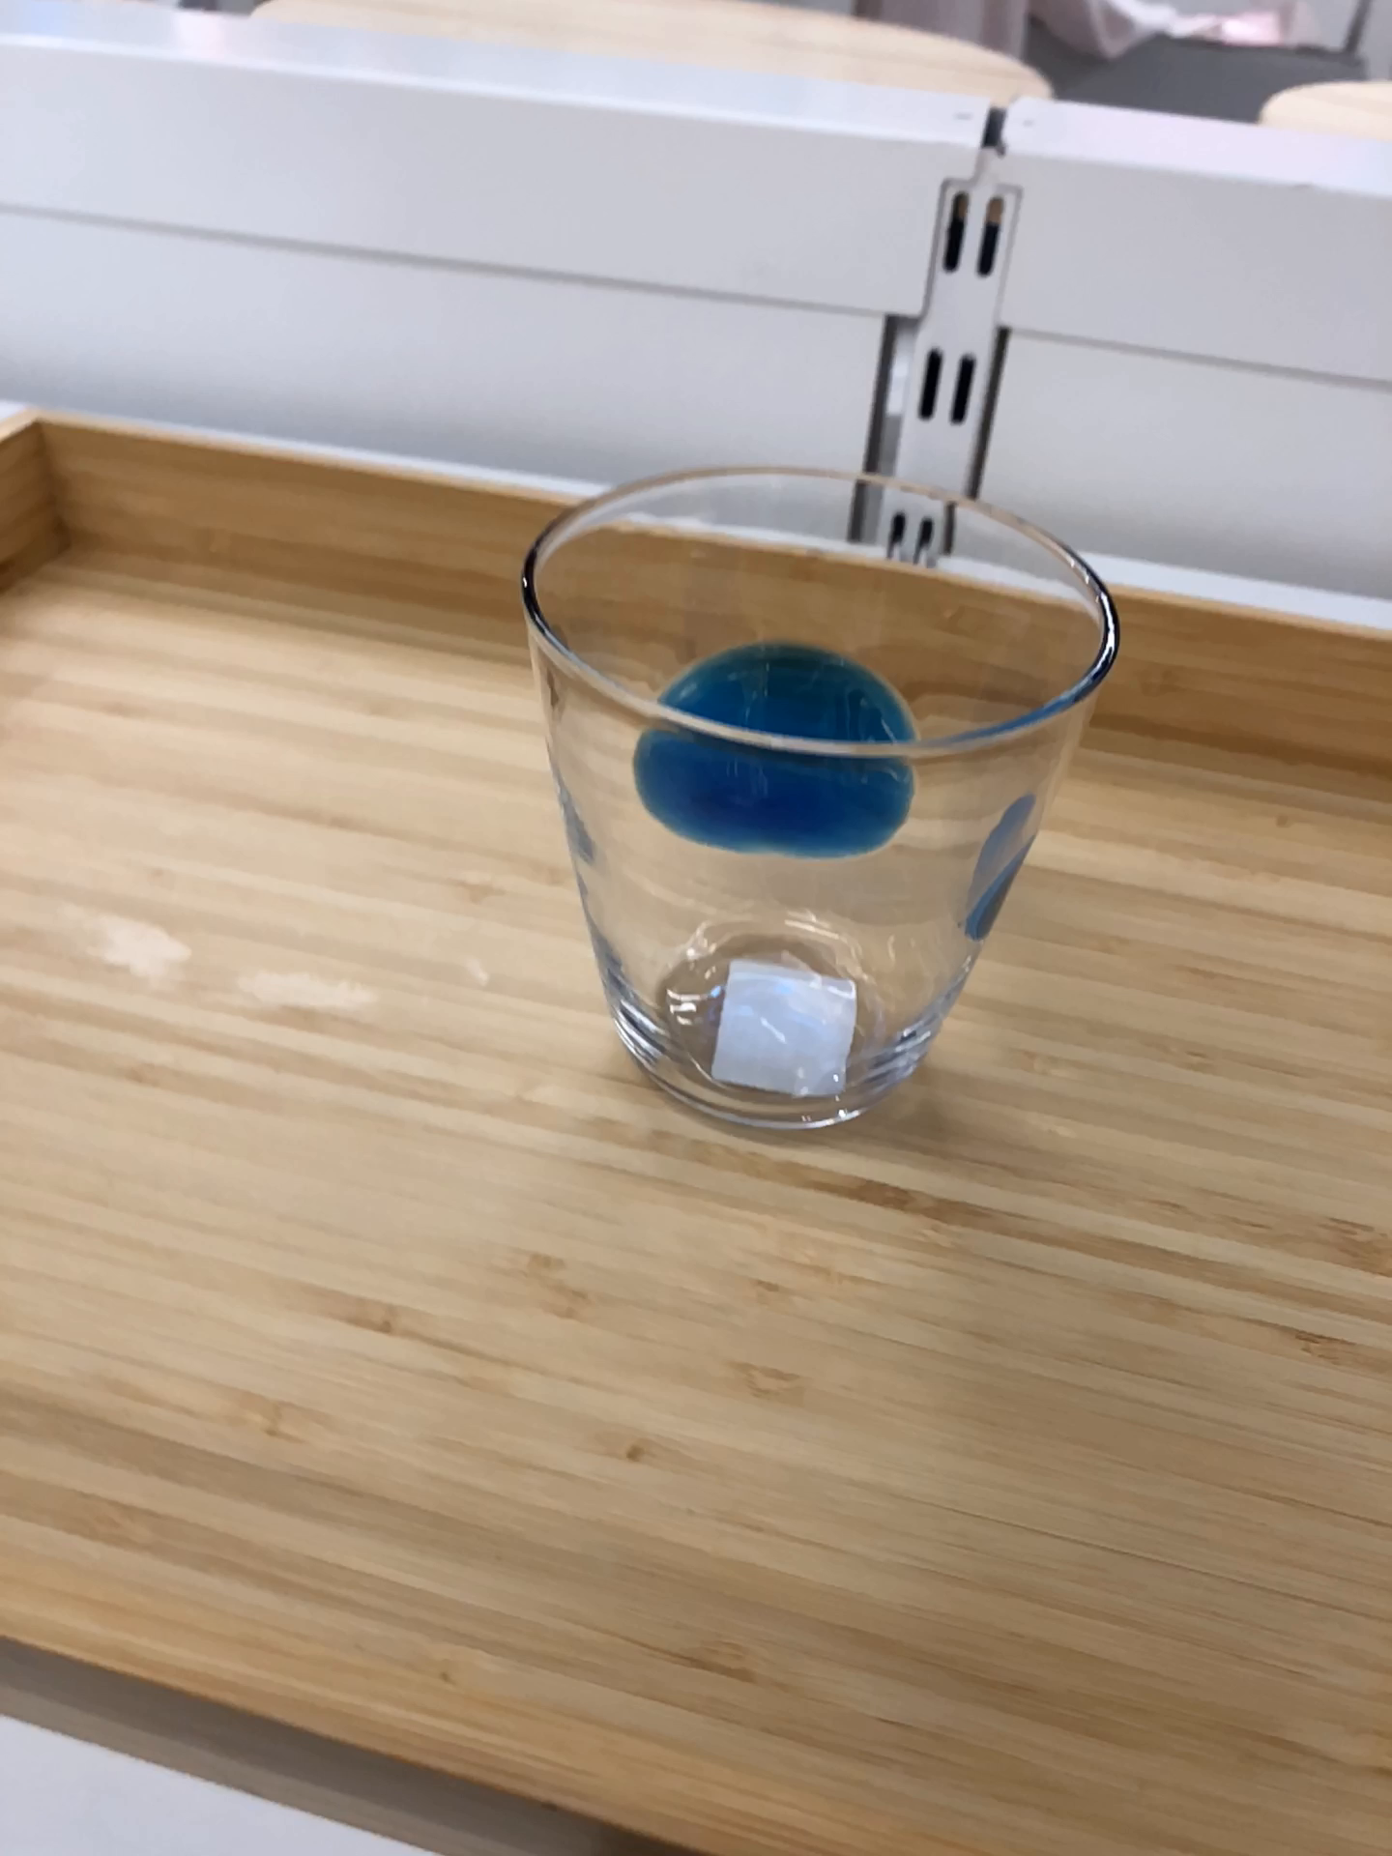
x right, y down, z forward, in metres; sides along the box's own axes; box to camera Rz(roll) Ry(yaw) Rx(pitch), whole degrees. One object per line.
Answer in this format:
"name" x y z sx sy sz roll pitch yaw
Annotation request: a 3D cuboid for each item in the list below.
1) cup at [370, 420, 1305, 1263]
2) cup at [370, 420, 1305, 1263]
"cup" 0.020 -0.024 0.256 0.100 0.070 0.100 3 38 -2
"cup" 0.020 -0.024 0.256 0.100 0.070 0.100 3 38 -2
